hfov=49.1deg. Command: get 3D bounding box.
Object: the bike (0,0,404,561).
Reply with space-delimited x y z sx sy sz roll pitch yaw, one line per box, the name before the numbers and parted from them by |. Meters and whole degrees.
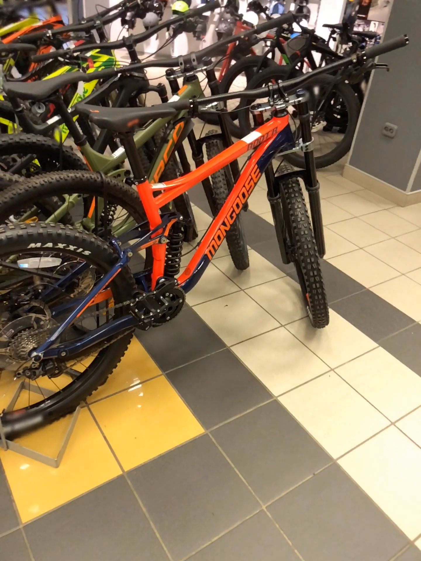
bike | -0.210 -0.309 1.572 0.802 1.108 1.704 31 43 33
